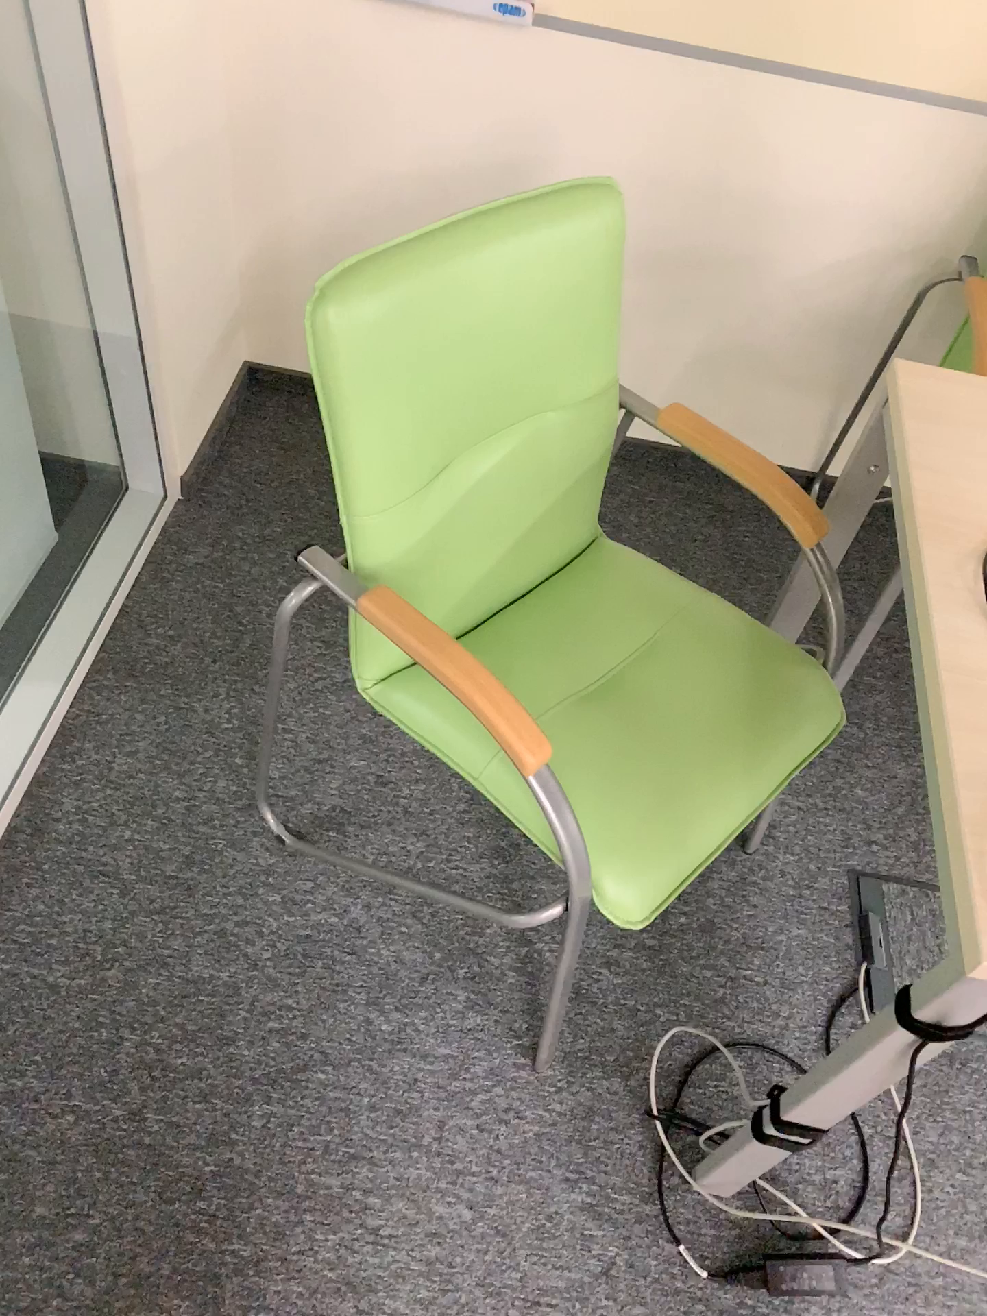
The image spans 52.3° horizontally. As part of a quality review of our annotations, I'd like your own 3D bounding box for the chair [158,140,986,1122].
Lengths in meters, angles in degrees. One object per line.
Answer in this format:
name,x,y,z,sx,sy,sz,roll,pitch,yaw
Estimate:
chair,0.096,-0.016,1.318,0.672,0.896,0.651,-34,63,-31
